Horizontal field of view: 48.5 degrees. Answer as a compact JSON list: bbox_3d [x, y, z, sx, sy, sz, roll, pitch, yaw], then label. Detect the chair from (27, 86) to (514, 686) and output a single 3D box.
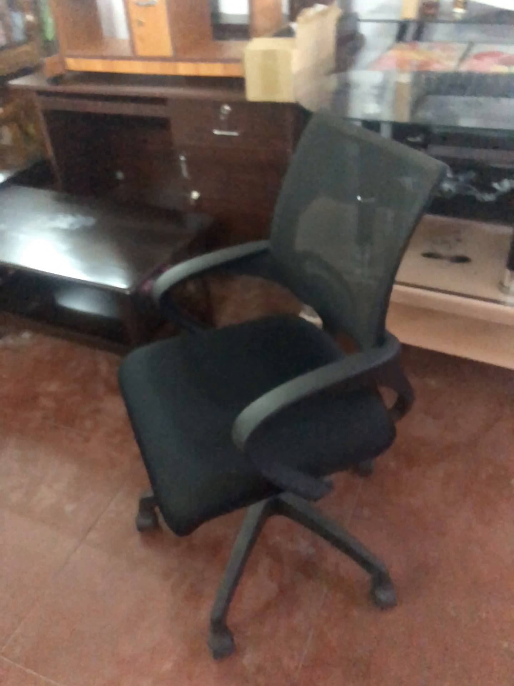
[{"bbox_3d":[0.011,0.066,1.208,0.631,0.915,0.753,-17,38,-17],"label":"chair"}]
